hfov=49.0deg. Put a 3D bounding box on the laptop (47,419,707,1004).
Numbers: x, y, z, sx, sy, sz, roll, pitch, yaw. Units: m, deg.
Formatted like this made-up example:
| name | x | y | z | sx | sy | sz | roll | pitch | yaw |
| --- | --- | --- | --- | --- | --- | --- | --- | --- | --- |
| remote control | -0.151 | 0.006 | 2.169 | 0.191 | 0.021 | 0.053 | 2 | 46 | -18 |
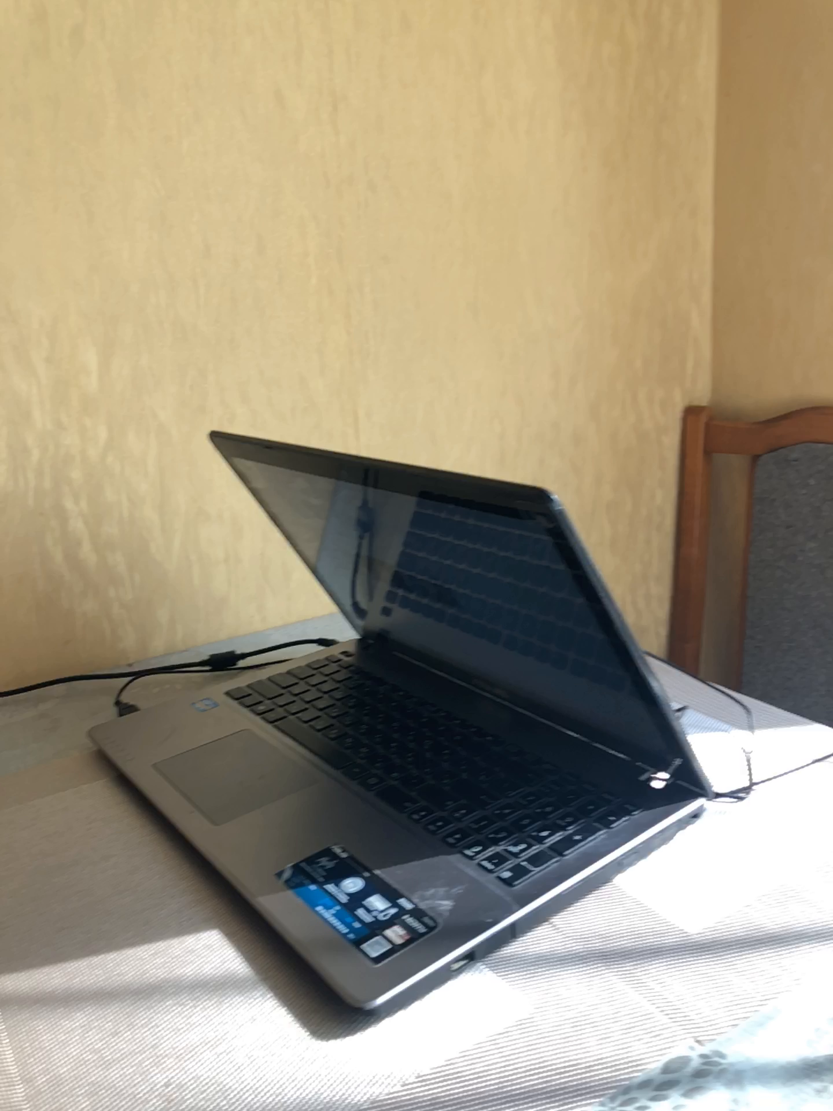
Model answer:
| name | x | y | z | sx | sy | sz | roll | pitch | yaw |
| --- | --- | --- | --- | --- | --- | --- | --- | --- | --- |
| laptop | -0.046 | 0.040 | 0.588 | 0.243 | 0.196 | 0.370 | -15 | 19 | -34 |
